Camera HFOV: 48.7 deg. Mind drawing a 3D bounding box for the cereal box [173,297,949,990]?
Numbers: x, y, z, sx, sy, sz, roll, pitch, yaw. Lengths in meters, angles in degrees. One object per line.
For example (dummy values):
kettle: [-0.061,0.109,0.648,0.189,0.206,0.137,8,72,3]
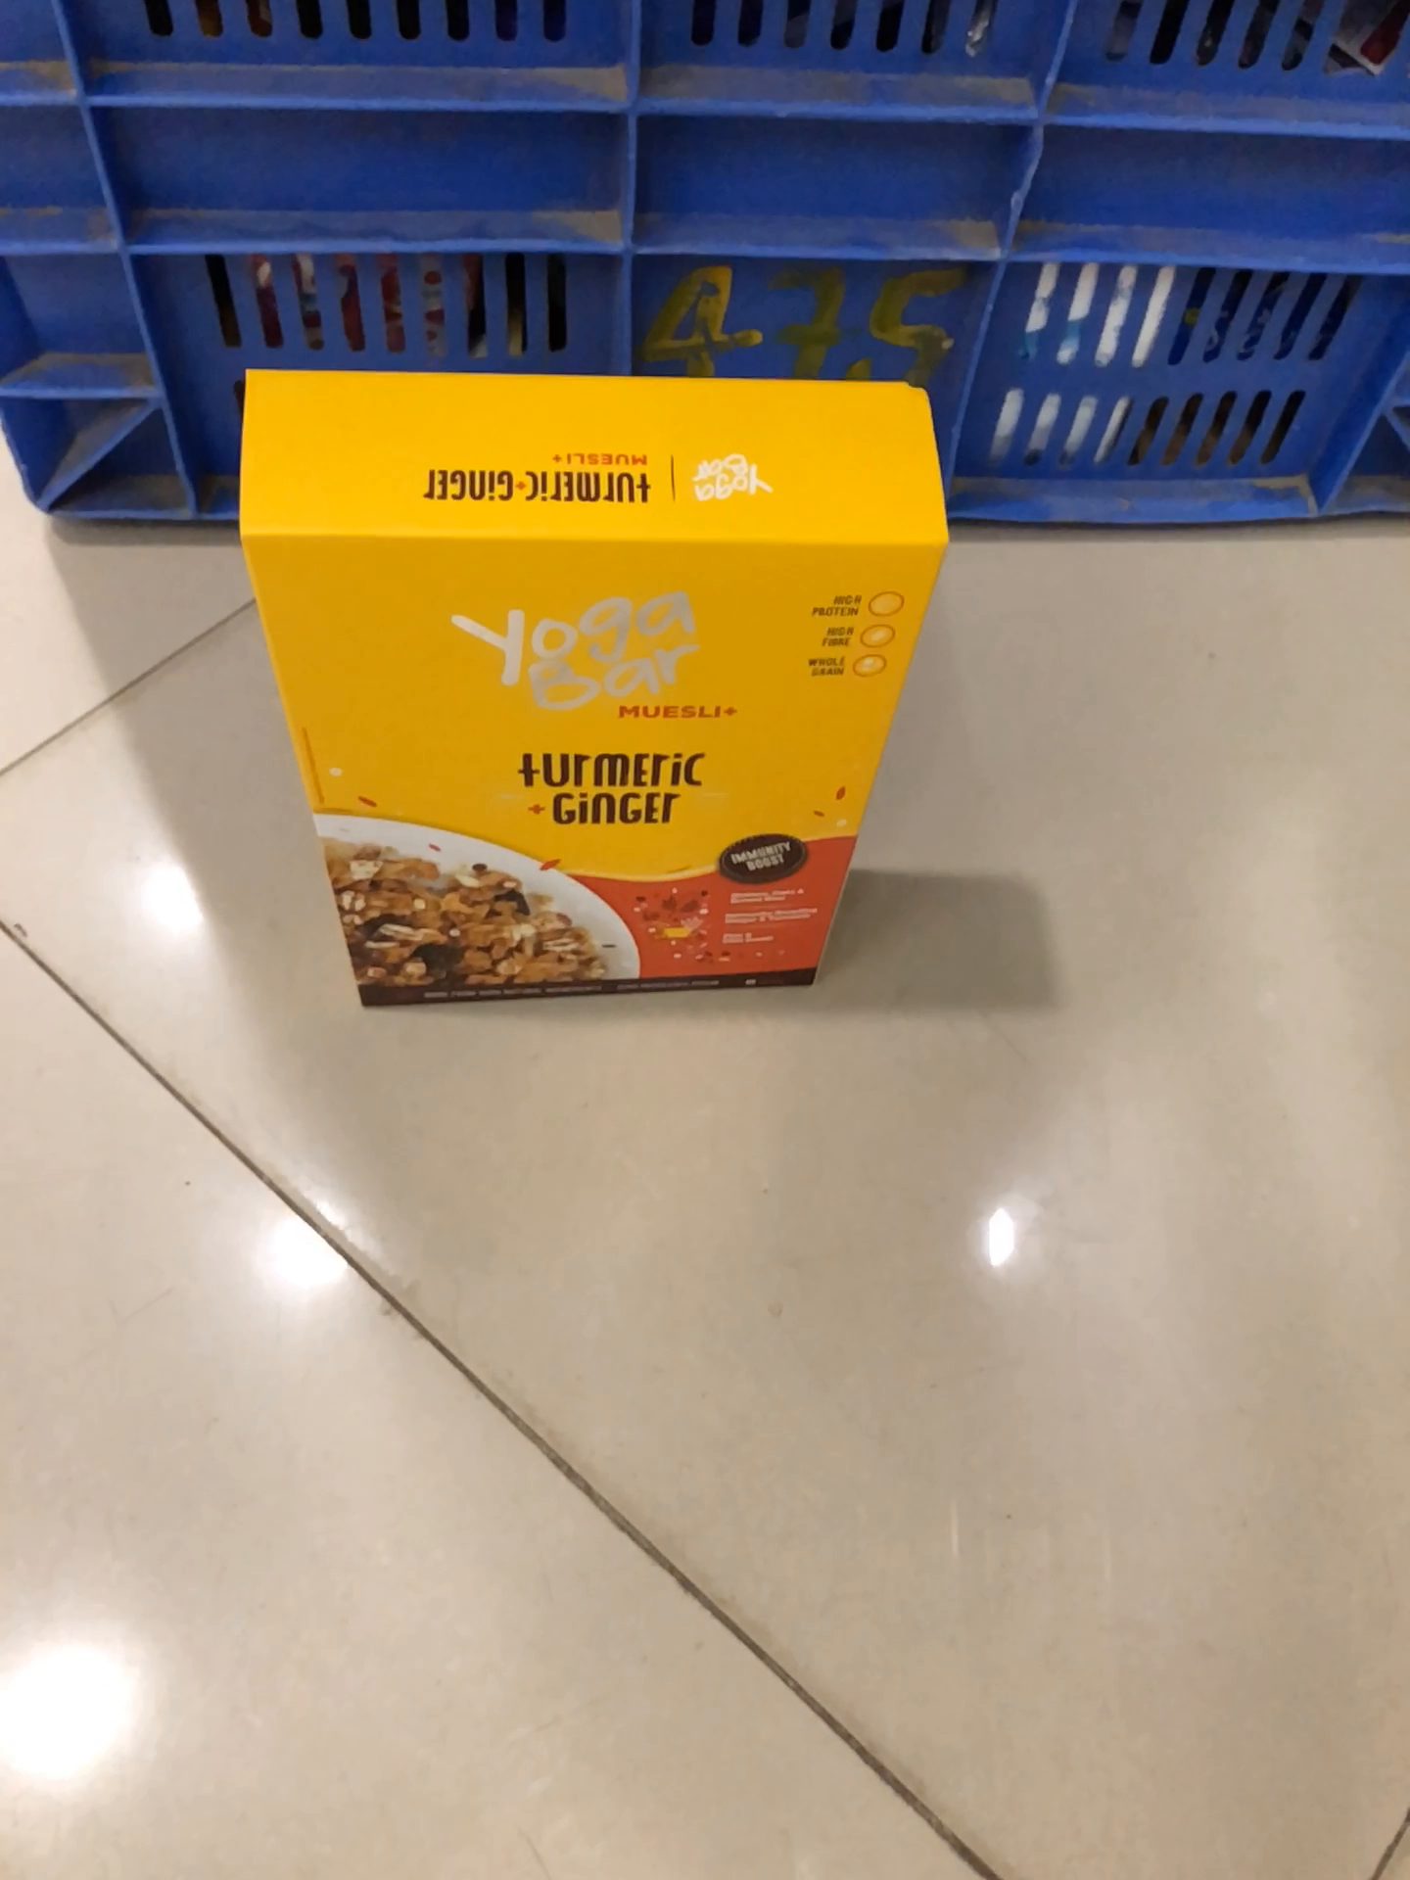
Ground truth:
cereal box: [-0.040,-0.070,0.457,0.170,0.229,0.060,-2,60,-6]
